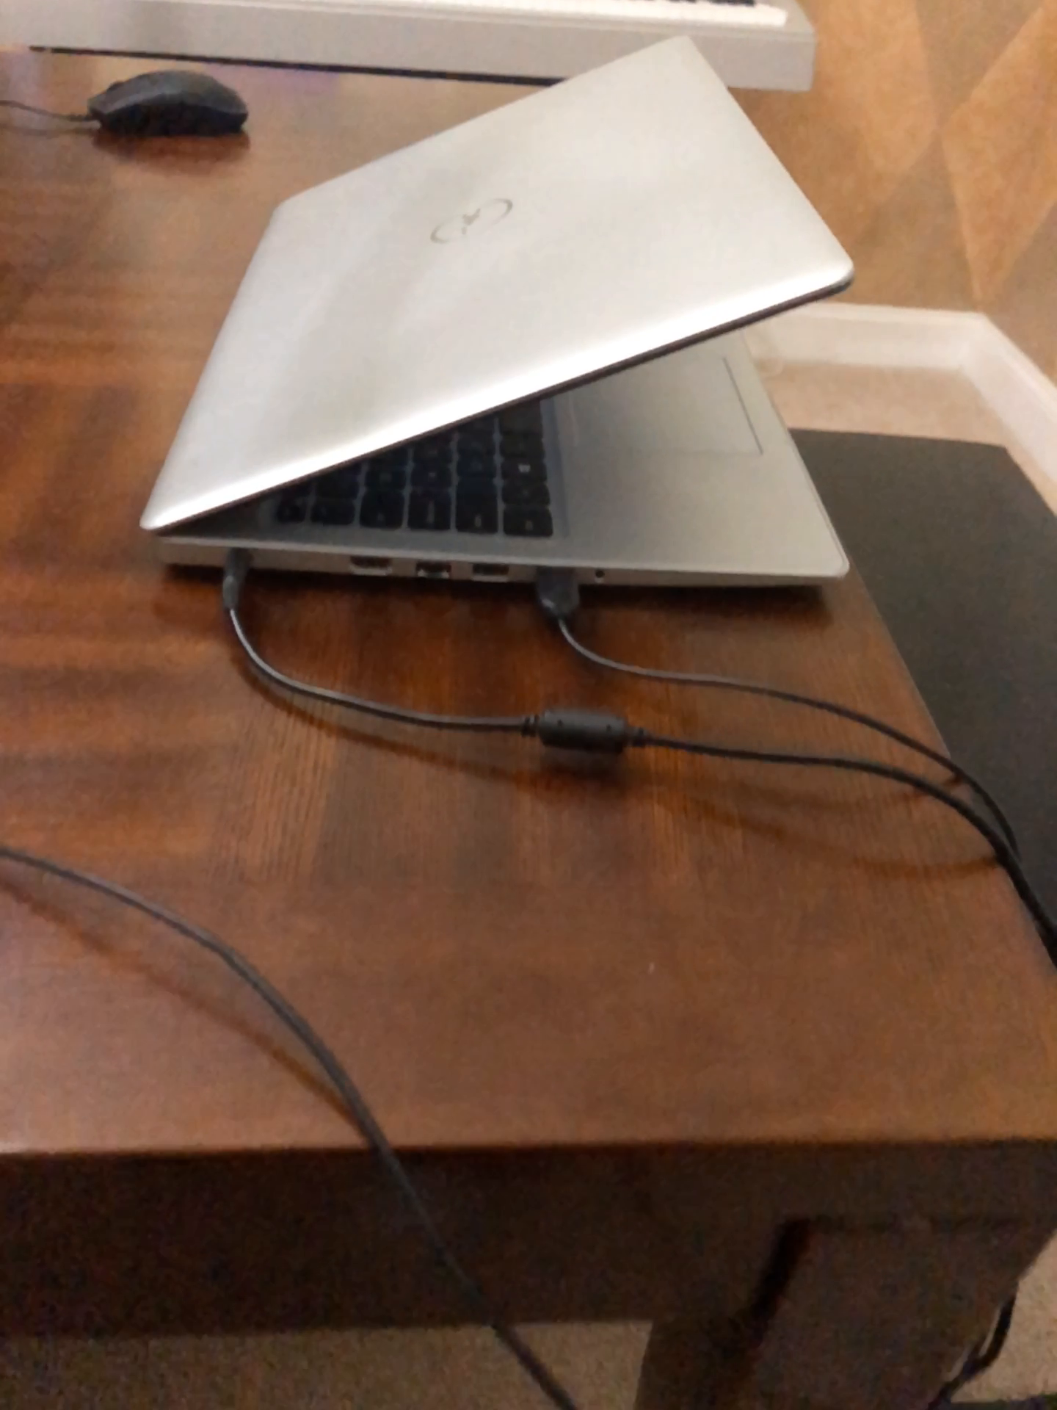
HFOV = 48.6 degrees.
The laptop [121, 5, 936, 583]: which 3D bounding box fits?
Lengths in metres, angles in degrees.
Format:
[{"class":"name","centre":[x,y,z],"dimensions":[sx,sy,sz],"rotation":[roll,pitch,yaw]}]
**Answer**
[{"class":"laptop","centre":[-0.005,-0.209,0.528],"dimensions":[0.249,0.103,0.370],"rotation":[3,39,-6]}]
